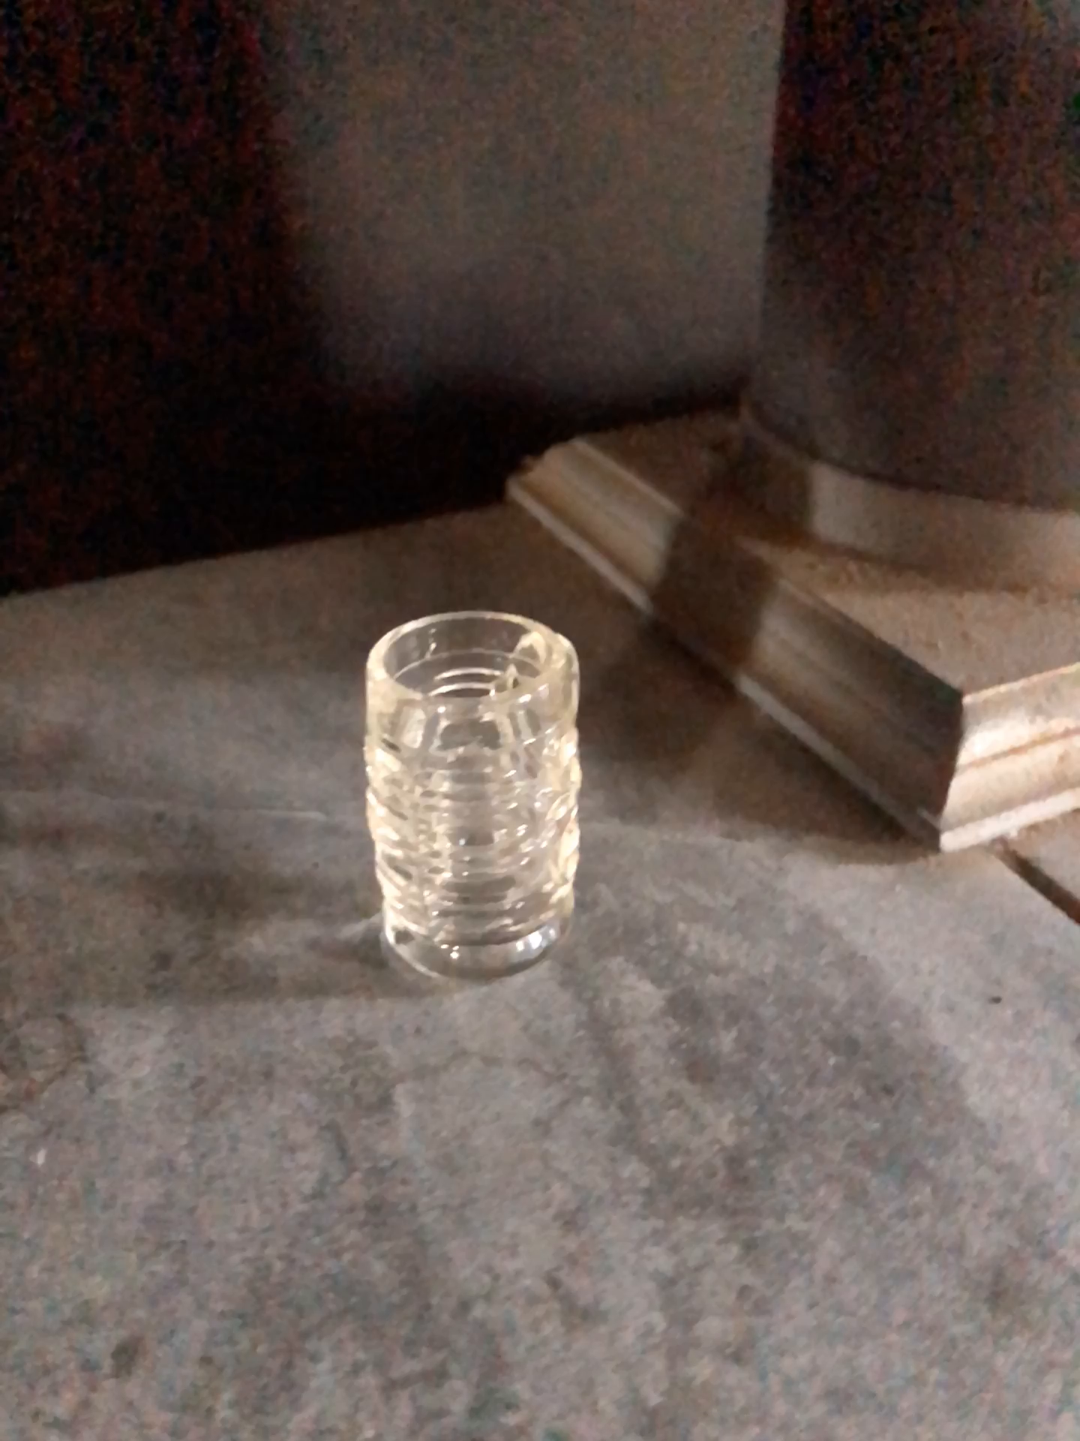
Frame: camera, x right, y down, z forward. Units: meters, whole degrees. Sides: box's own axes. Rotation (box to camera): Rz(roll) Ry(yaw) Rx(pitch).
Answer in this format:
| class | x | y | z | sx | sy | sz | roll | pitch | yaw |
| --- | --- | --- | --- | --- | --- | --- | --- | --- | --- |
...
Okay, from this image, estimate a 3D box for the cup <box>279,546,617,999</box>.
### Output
| class | x | y | z | sx | sy | sz | roll | pitch | yaw |
| --- | --- | --- | --- | --- | --- | --- | --- | --- | --- |
| cup | -0.011 | 0.006 | 0.211 | 0.040 | 0.050 | 0.060 | 5 | 33 | 11 |
